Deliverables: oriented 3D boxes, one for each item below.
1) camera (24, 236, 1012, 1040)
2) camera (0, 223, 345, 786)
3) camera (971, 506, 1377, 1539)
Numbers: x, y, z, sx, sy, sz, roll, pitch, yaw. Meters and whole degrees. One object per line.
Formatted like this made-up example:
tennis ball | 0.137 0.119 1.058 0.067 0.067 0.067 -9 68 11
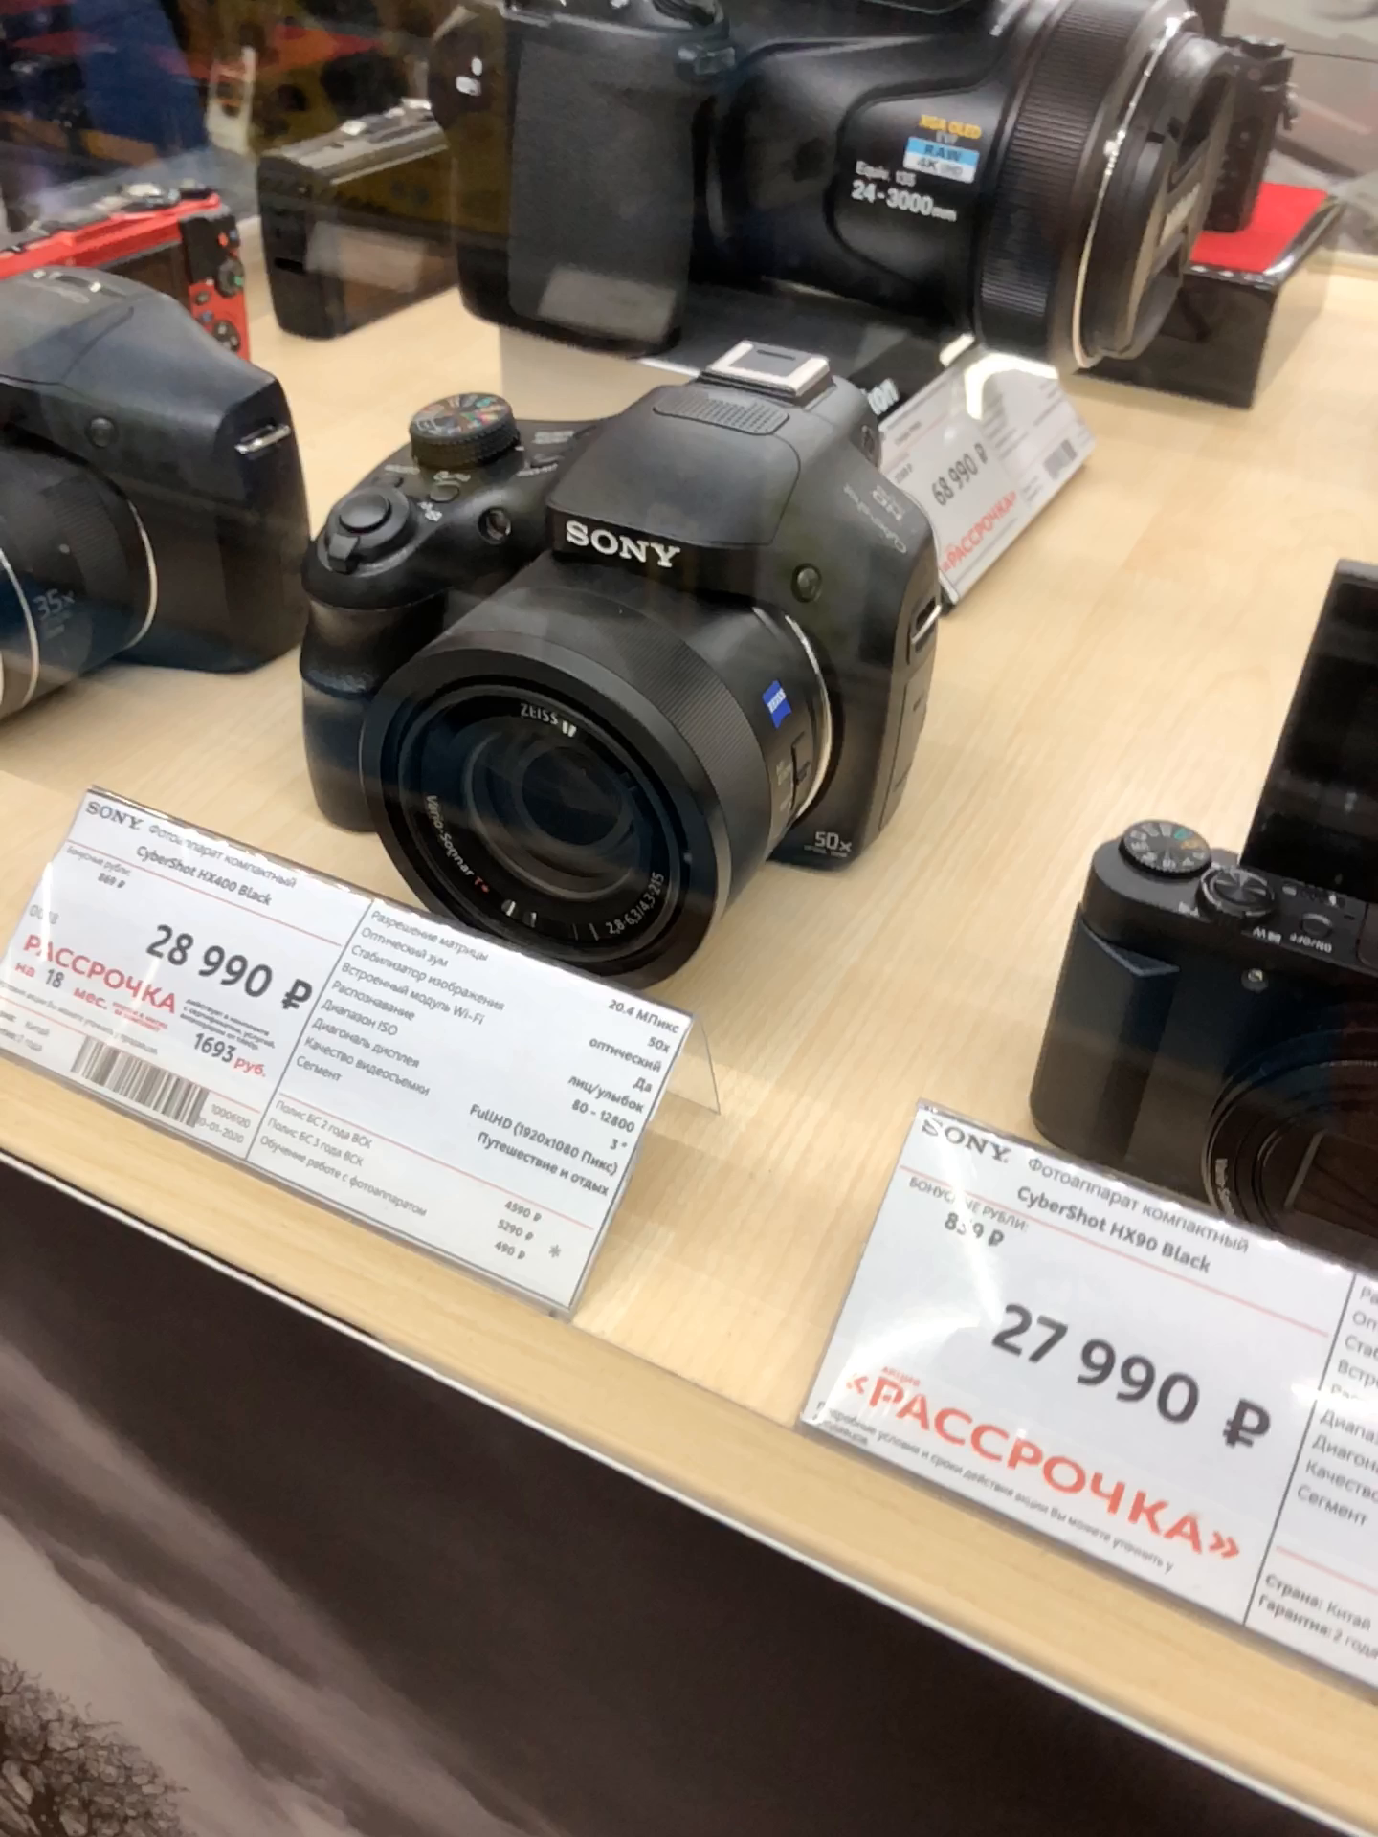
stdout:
camera | -0.027 -0.062 0.293 0.137 0.086 0.104 19 42 19
camera | -0.162 -0.101 0.353 0.122 0.073 0.097 19 42 19
camera | 0.120 0.014 0.233 0.125 0.113 0.056 19 41 19
